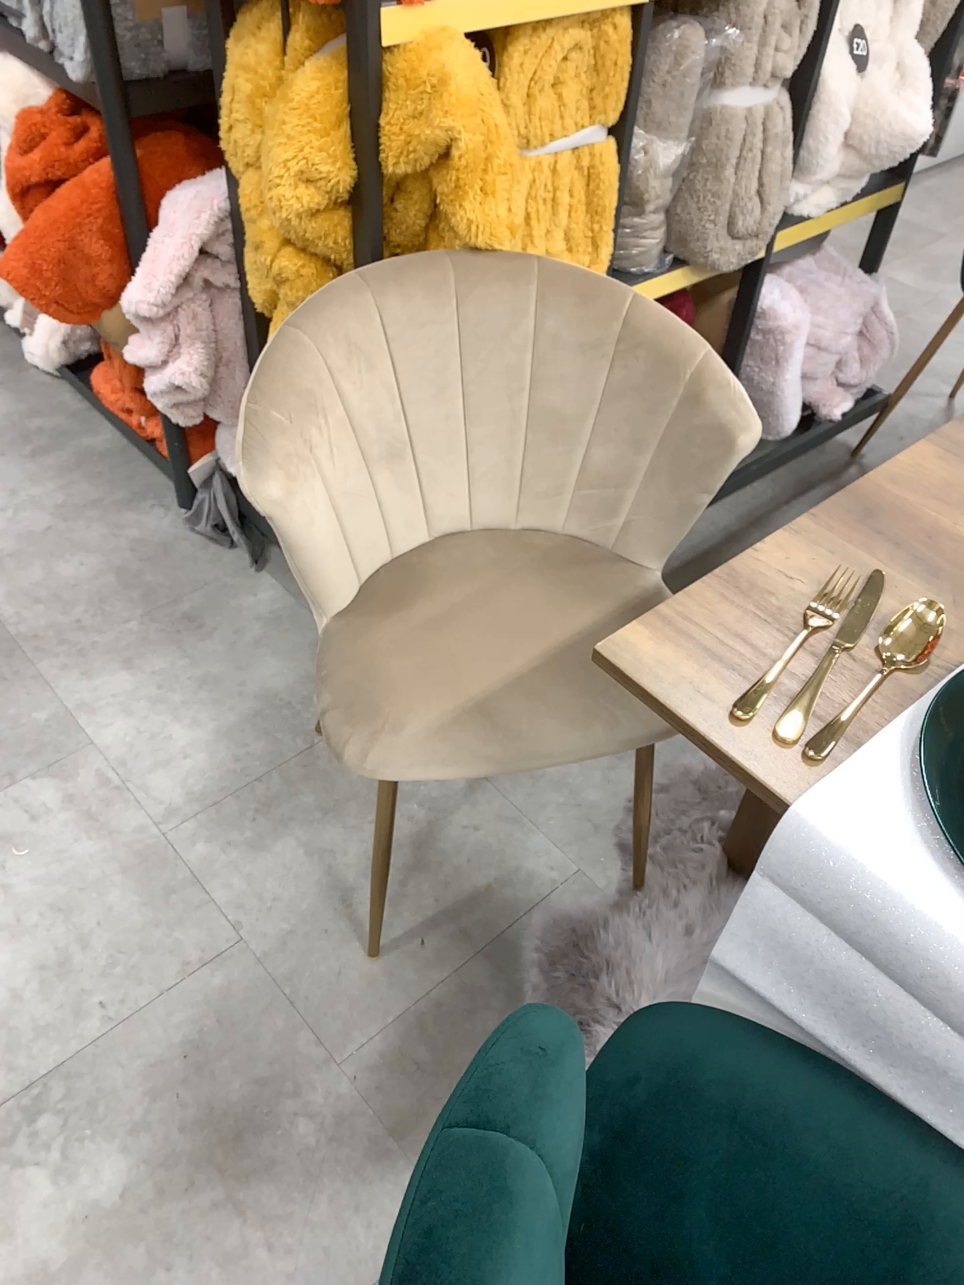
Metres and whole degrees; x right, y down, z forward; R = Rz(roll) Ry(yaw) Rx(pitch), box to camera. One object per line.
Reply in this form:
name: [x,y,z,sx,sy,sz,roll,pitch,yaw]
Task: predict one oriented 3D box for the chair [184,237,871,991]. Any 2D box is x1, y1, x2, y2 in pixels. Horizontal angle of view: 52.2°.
chair: [-0.018,-0.044,1.244,0.562,0.666,0.577,-9,47,-13]
